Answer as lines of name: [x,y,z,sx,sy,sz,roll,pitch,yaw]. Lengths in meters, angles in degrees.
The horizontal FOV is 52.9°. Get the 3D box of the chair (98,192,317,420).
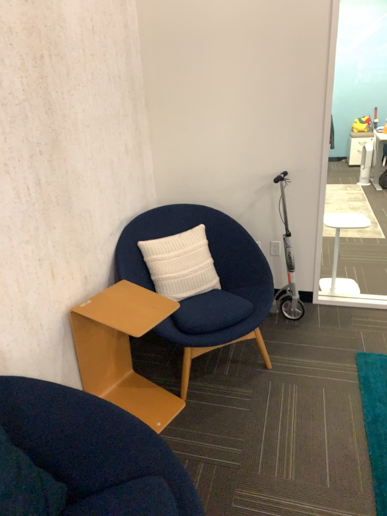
chair: [0.047,0.169,2.288,0.890,0.816,0.885,-14,25,-22]
